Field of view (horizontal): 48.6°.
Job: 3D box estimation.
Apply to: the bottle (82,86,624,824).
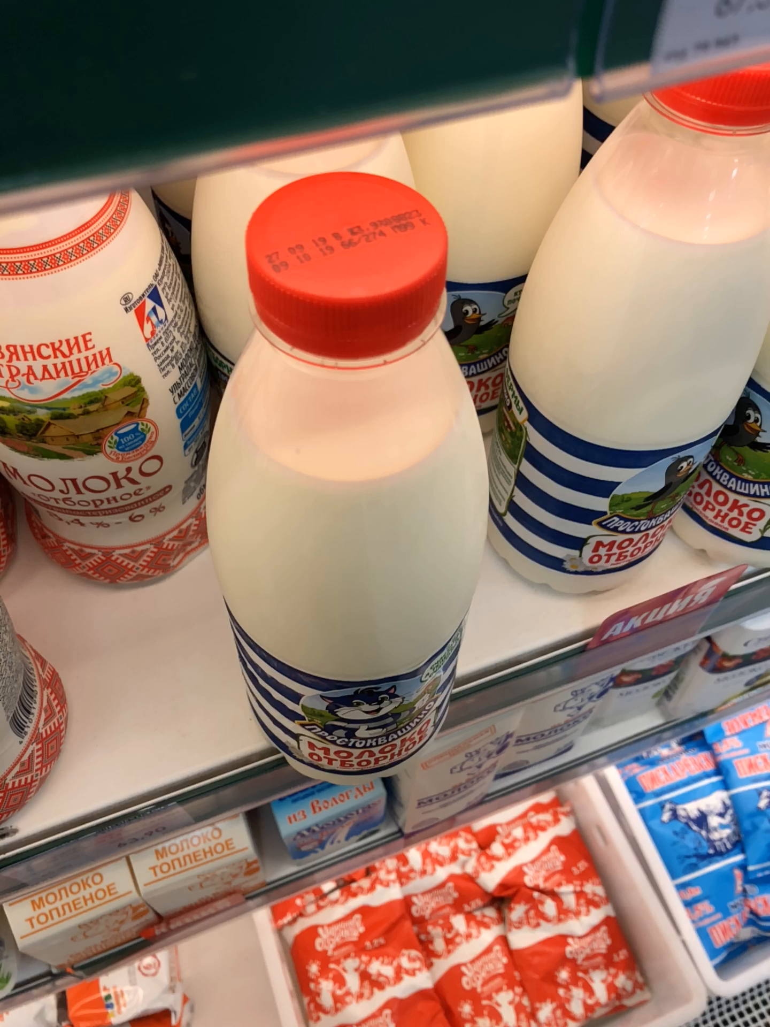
[{"bbox_3d":[-0.012,0.010,0.255,0.090,0.228,0.080,-9,55,-7],"label":"bottle"}]
